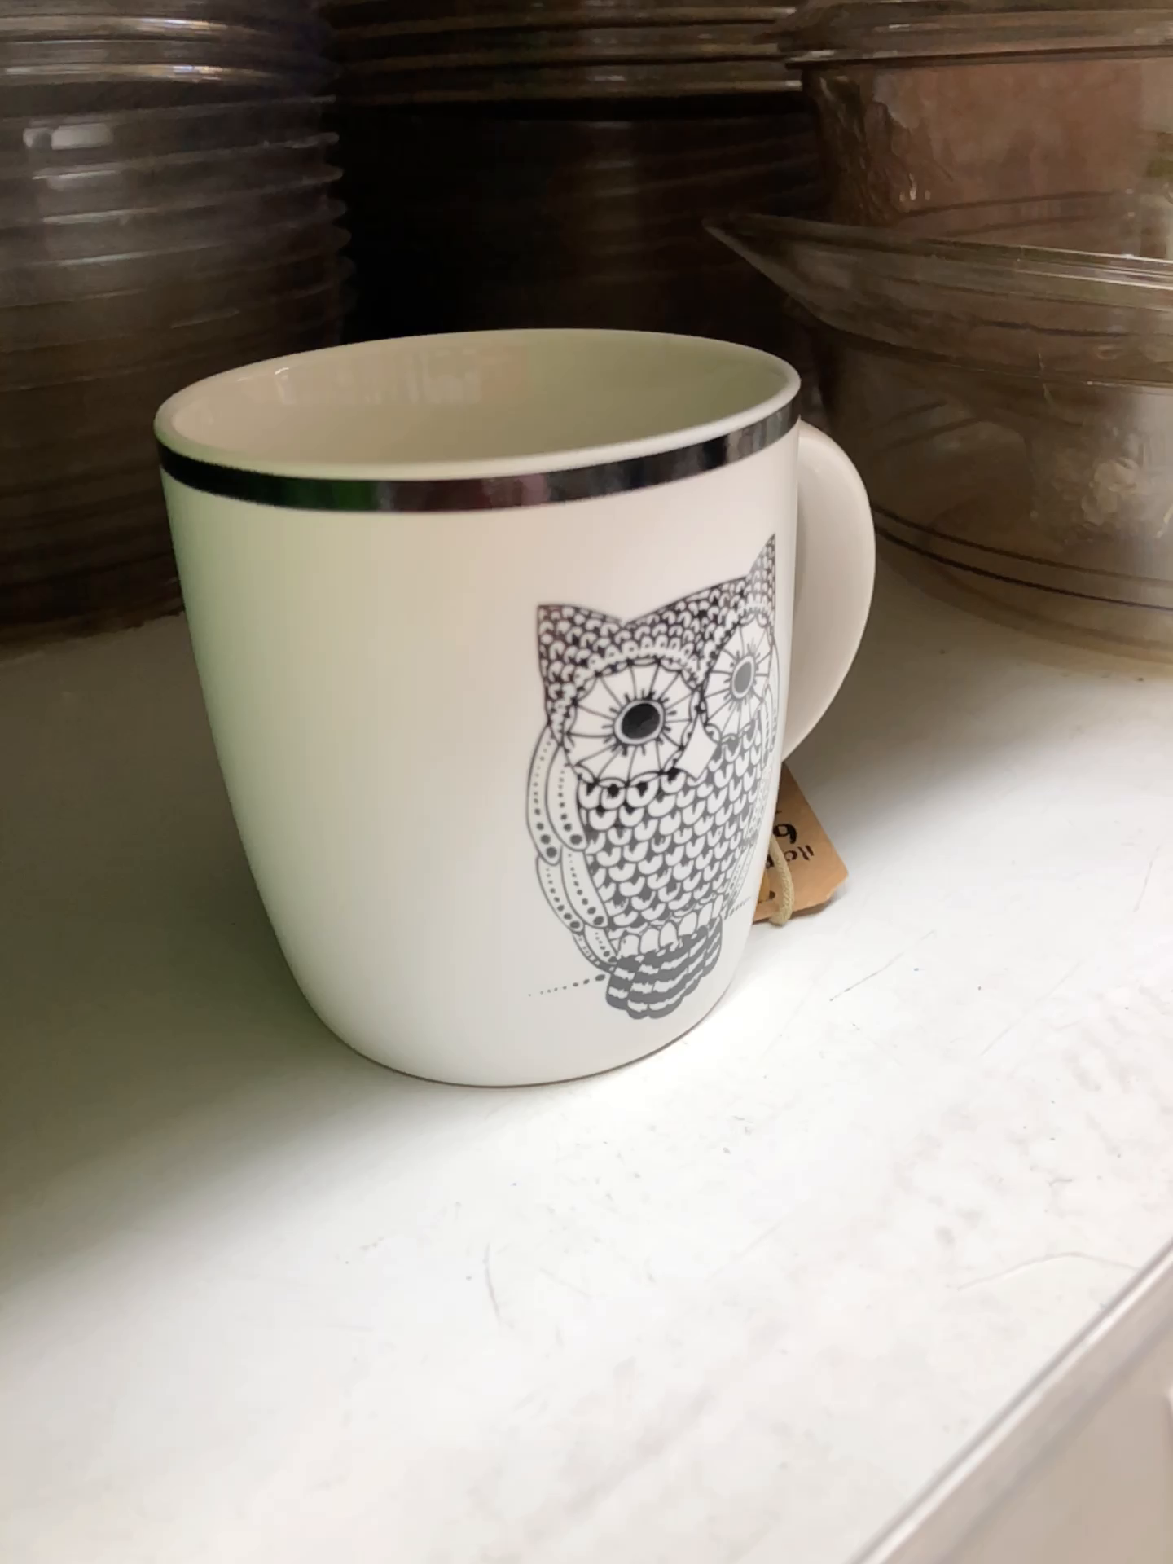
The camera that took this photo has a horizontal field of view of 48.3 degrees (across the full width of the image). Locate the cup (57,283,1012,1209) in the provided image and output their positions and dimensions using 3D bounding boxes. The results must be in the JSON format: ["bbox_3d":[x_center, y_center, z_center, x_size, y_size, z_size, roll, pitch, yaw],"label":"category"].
[{"bbox_3d":[-0.001,-0.019,0.202,0.077,0.093,0.111,21,36,39],"label":"cup"}]
